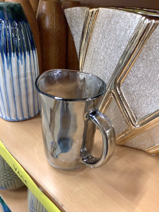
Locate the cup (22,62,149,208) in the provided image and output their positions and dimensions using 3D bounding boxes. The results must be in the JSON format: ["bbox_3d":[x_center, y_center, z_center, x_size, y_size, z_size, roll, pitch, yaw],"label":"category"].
[{"bbox_3d":[-0.002,0.023,0.193,0.070,0.110,0.110,-25,42,-38],"label":"cup"}]
